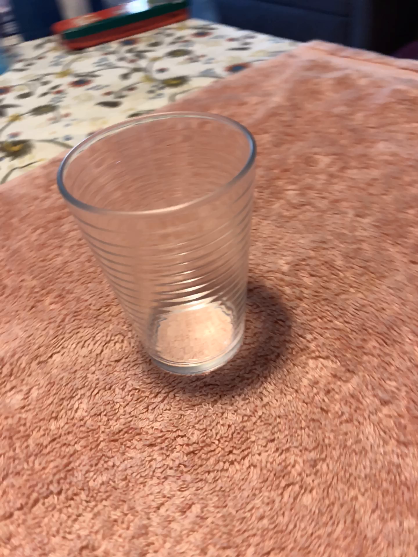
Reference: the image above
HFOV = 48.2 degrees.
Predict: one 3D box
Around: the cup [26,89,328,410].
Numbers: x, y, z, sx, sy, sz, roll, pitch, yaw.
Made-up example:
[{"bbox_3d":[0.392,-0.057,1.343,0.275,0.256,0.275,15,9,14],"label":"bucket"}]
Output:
[{"bbox_3d":[-0.007,-0.017,0.205,0.080,0.089,0.080,-4,43,4],"label":"cup"}]
